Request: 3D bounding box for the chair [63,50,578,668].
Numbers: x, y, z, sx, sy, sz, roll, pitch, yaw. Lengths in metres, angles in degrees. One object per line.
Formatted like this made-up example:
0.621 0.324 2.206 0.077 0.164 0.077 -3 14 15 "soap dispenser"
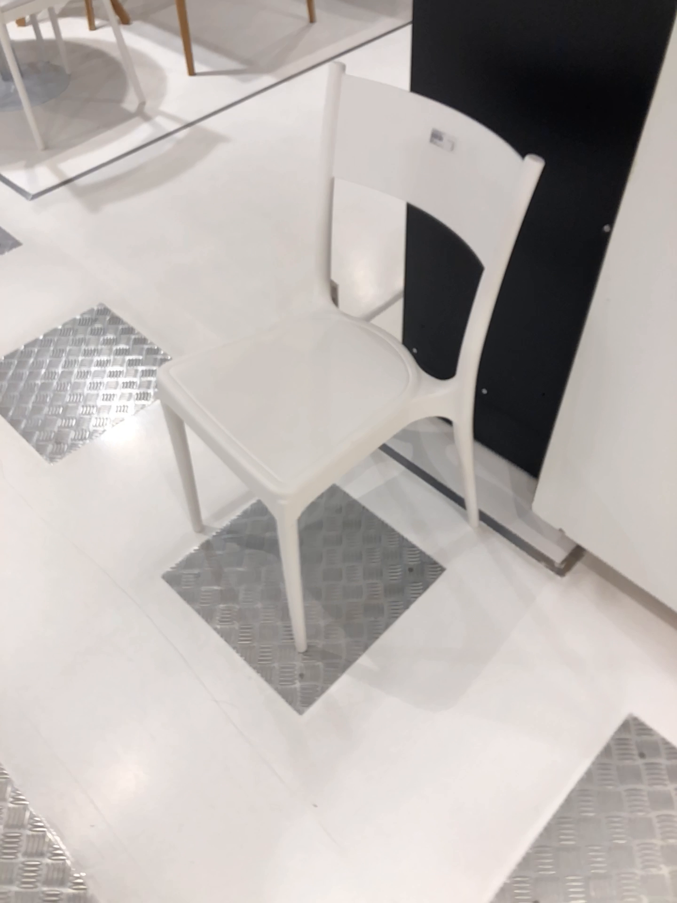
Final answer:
-0.014 -0.112 1.208 0.482 0.765 0.411 -34 56 -24 "chair"
